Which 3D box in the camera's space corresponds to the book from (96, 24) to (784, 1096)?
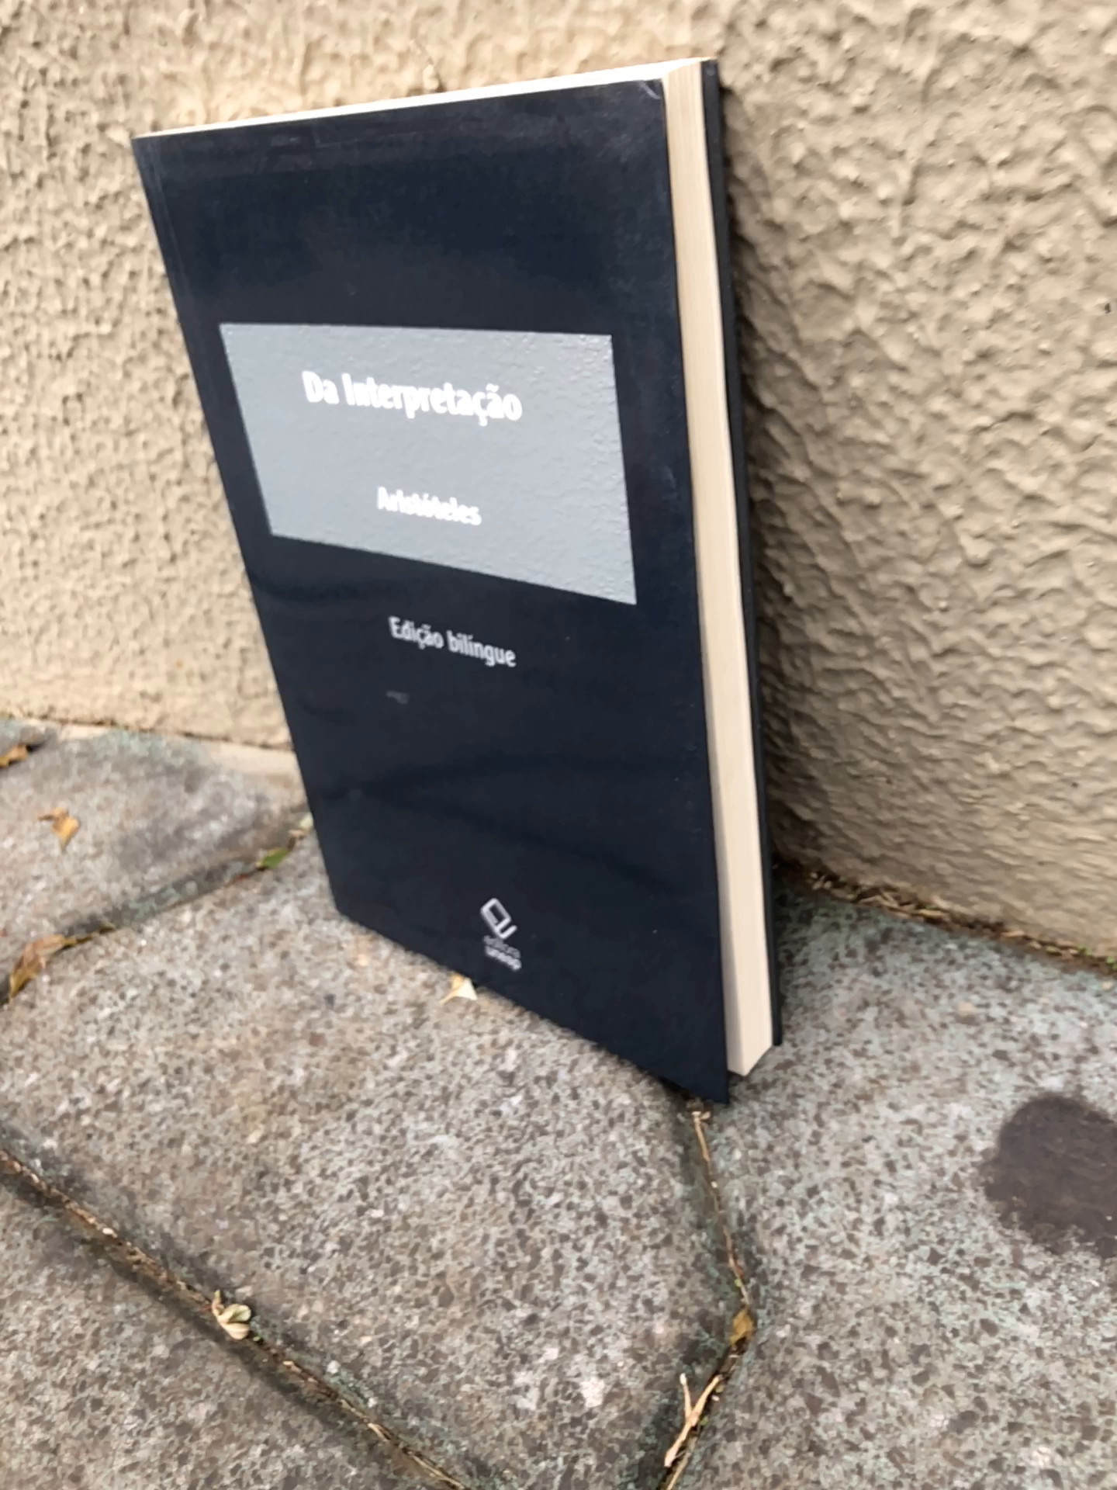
[{"bbox_3d":[-0.022,-0.033,0.260,0.132,0.187,0.030,18,37,39],"label":"book"}]
